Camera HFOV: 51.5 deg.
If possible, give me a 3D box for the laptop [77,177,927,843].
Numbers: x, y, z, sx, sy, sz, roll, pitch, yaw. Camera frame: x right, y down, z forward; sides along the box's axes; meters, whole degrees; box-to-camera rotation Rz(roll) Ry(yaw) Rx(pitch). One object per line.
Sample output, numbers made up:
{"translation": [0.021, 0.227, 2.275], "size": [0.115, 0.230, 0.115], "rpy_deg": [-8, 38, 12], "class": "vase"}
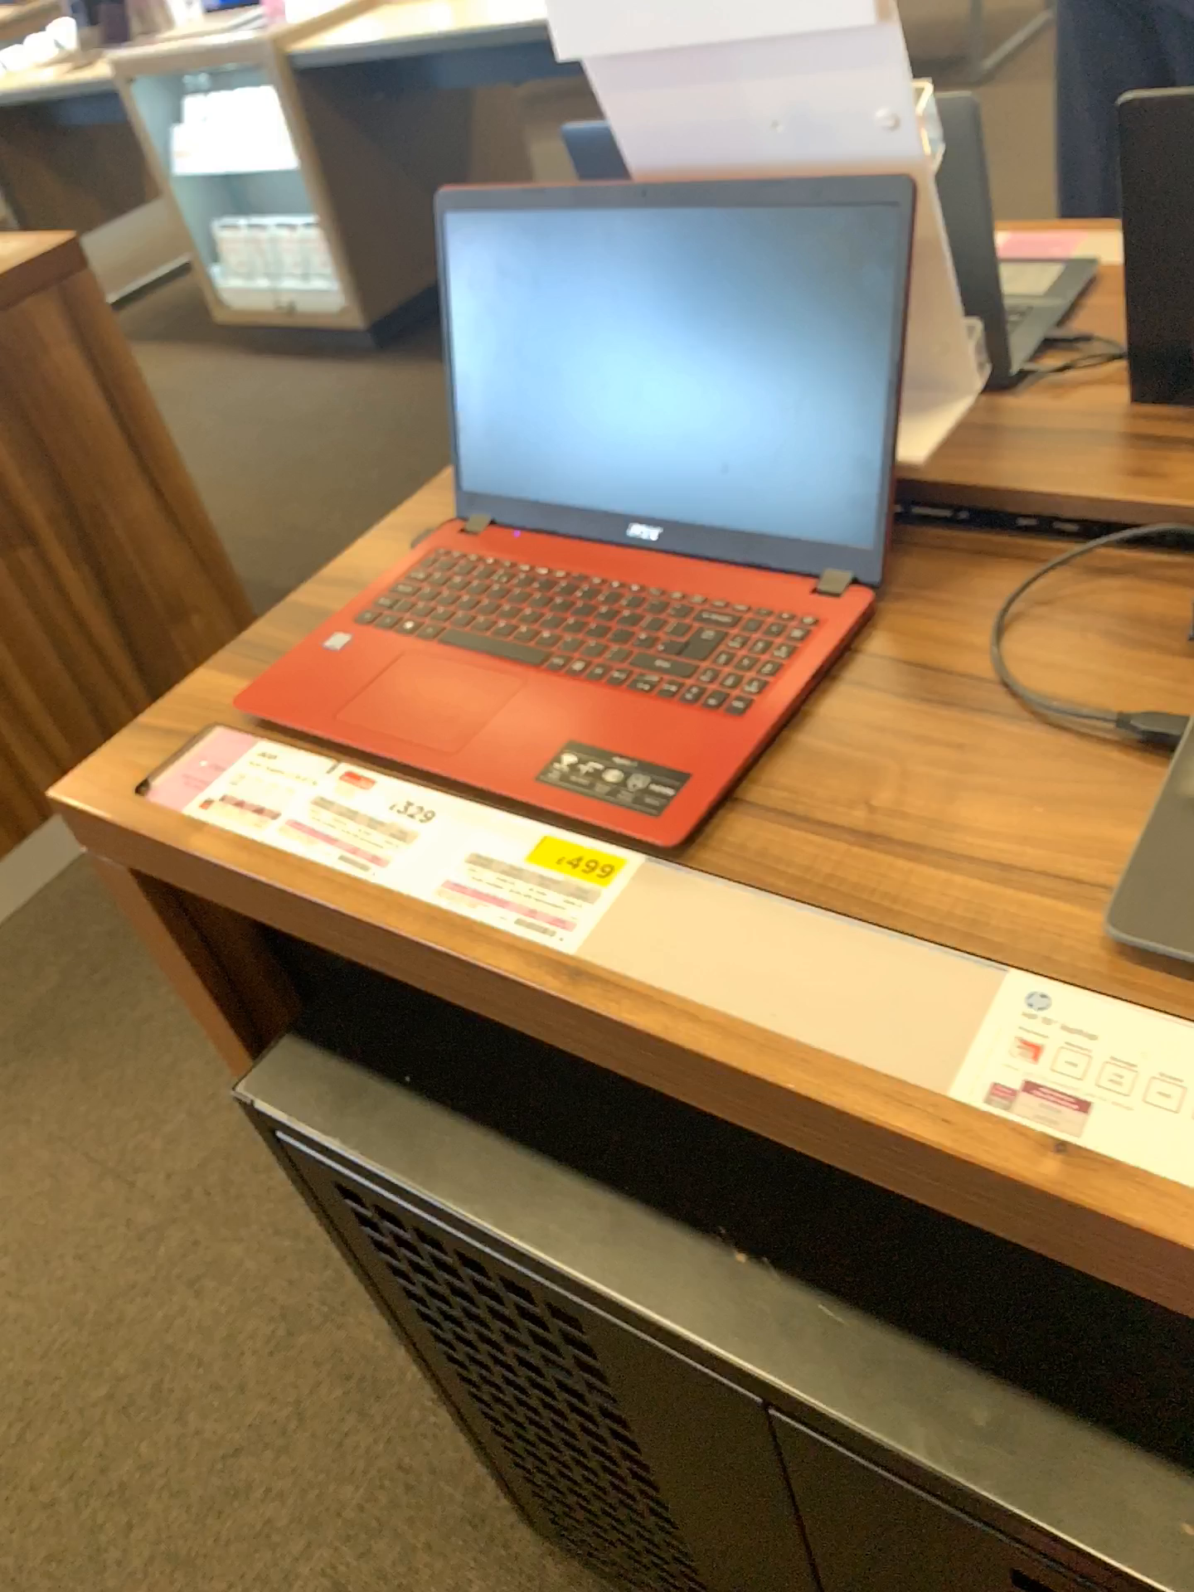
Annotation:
{"translation": [-0.038, -0.200, 0.754], "size": [0.357, 0.213, 0.322], "rpy_deg": [16, 50, 33], "class": "laptop"}
